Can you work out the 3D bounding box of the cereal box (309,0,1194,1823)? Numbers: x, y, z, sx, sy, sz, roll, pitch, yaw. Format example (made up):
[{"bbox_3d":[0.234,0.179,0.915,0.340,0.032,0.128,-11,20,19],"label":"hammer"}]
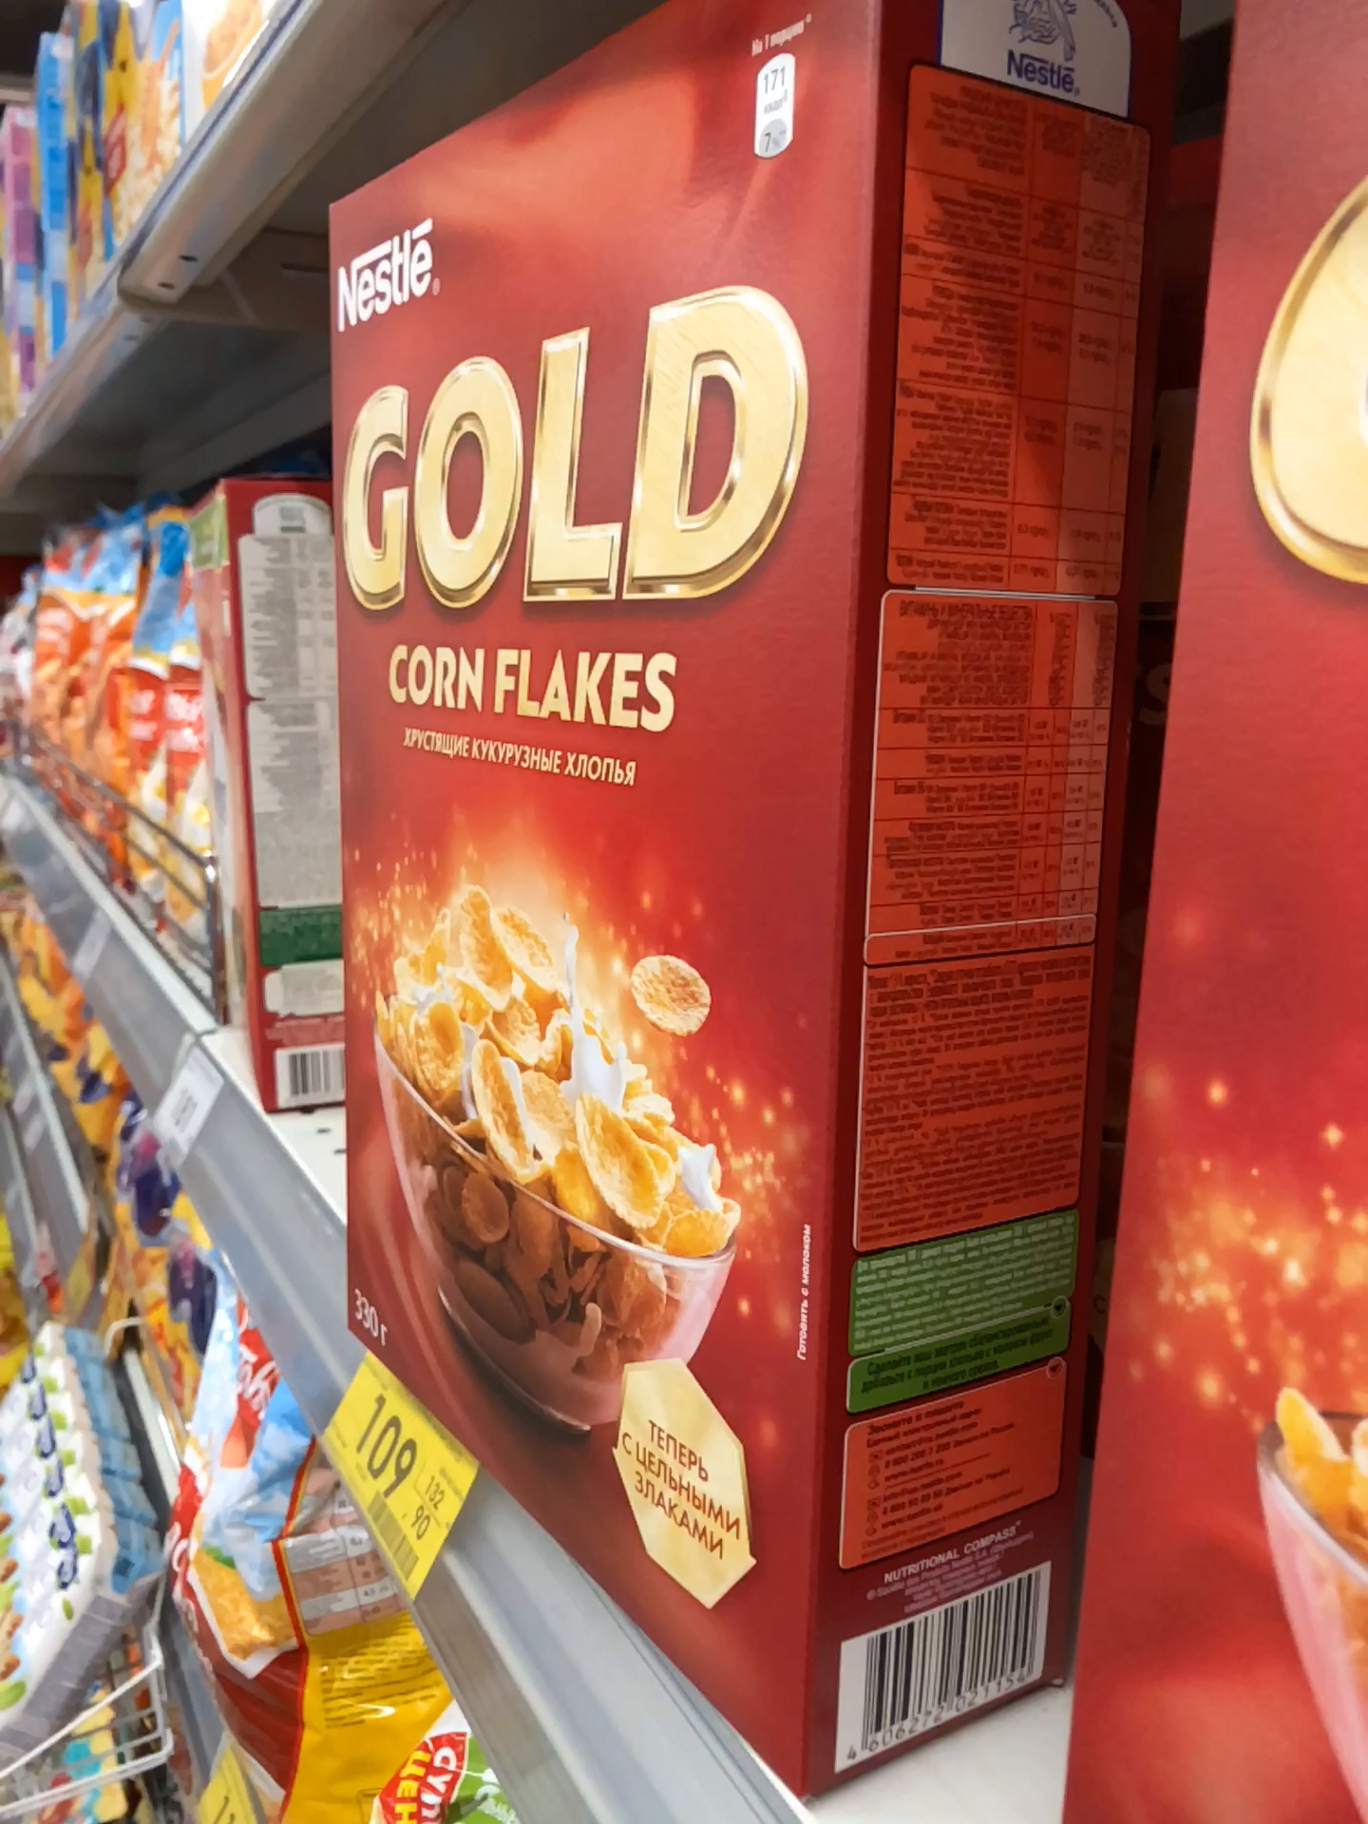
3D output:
[{"bbox_3d":[-0.009,-0.016,0.304,0.060,0.279,0.200,-5,11,-32],"label":"cereal box"}]
